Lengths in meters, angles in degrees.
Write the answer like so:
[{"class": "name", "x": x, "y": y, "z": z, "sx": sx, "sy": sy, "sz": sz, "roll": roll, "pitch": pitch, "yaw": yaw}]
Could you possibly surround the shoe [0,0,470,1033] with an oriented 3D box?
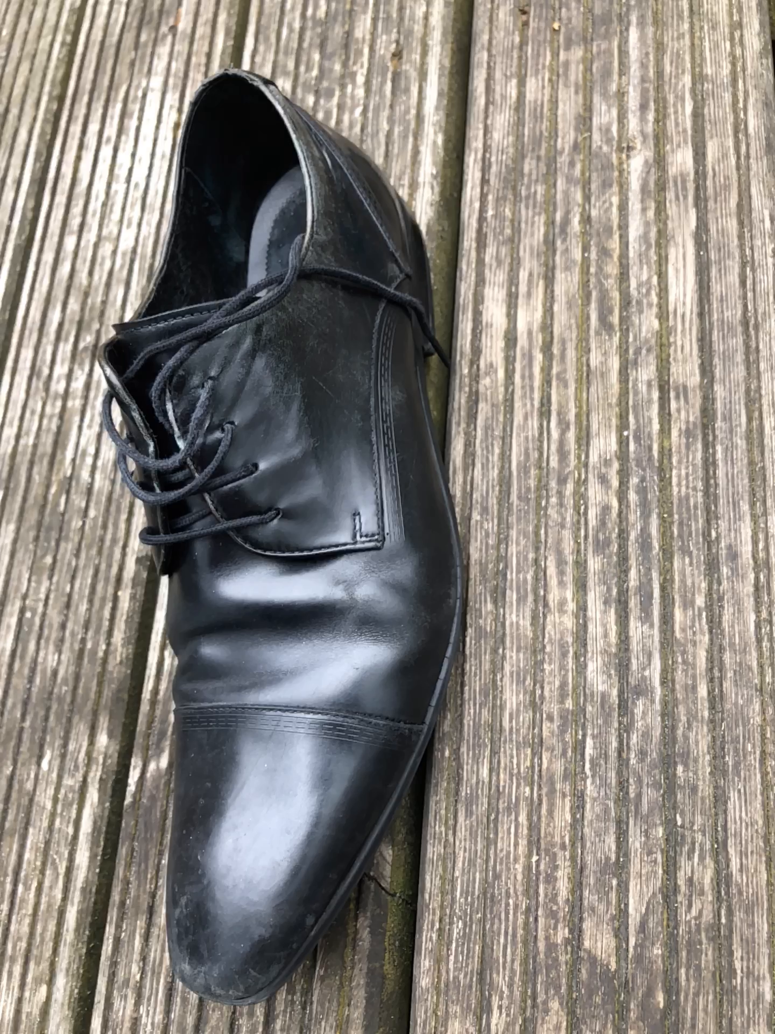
[{"class": "shoe", "x": -0.044, "y": -0.010, "z": 0.319, "sx": 0.090, "sy": 0.150, "sz": 0.341, "roll": -6, "pitch": 71, "yaw": 27}]
